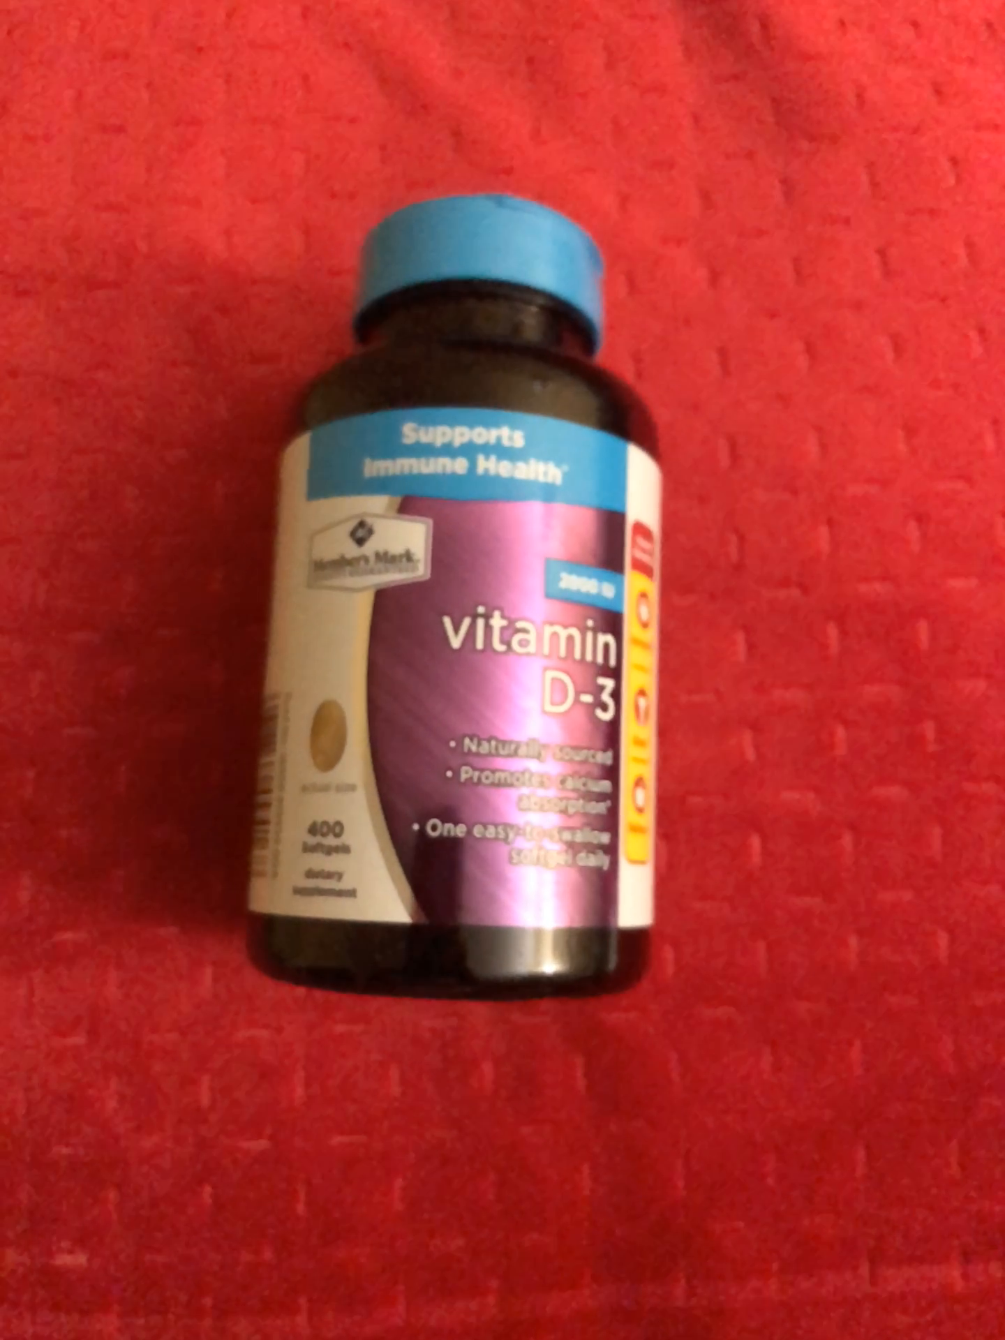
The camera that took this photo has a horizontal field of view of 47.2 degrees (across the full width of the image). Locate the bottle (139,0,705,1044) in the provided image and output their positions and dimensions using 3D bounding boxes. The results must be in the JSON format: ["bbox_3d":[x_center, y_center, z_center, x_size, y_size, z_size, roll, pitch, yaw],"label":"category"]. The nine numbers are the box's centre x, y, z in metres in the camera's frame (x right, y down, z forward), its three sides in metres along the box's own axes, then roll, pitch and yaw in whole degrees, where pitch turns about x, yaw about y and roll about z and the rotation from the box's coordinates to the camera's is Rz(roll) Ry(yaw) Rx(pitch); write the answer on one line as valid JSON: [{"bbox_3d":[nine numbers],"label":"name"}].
[{"bbox_3d":[-0.006,-0.021,0.180,0.070,0.060,0.140,0,82,6],"label":"bottle"}]
